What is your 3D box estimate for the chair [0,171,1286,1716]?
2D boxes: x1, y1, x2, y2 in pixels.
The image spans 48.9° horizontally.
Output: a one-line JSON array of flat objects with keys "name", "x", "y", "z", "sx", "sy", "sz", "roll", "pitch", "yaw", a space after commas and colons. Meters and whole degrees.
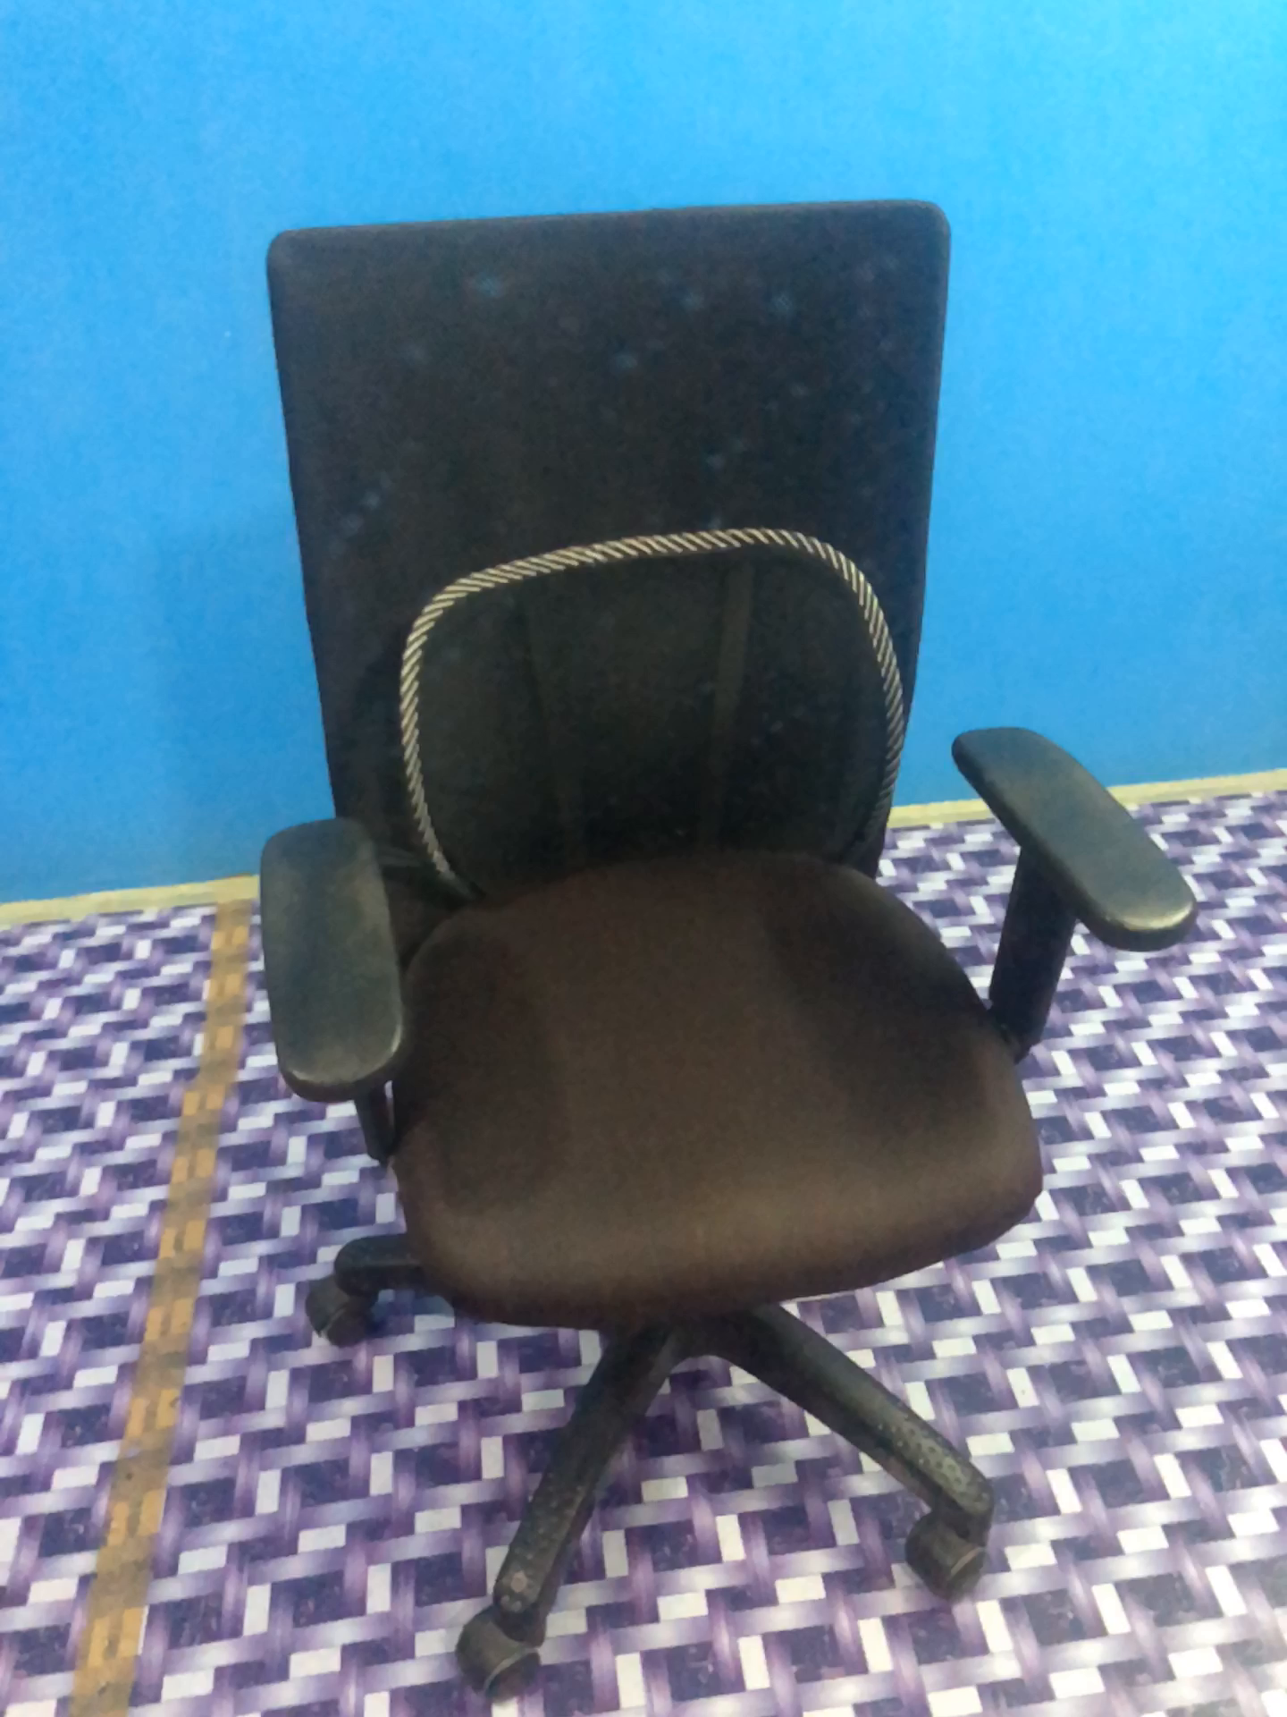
[{"name": "chair", "x": 0.002, "y": 0.048, "z": 1.056, "sx": 0.661, "sy": 0.885, "sz": 0.673, "roll": -9, "pitch": 36, "yaw": -12}]
